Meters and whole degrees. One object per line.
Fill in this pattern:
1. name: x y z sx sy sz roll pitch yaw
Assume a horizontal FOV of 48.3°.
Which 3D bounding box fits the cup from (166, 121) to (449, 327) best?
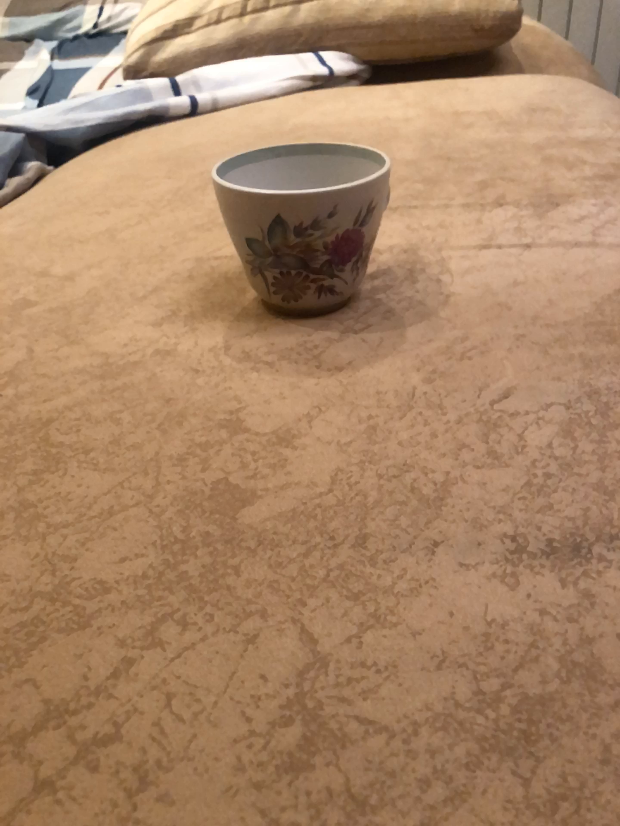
1. cup: 0.002 -0.104 0.357 0.090 0.060 0.110 23 43 34
